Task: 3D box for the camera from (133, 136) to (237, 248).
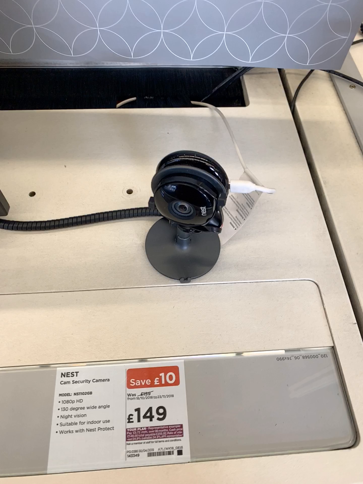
[{"bbox_3d":[0.003,-0.036,0.275,0.060,0.050,0.050,14,60,5],"label":"camera"}]
